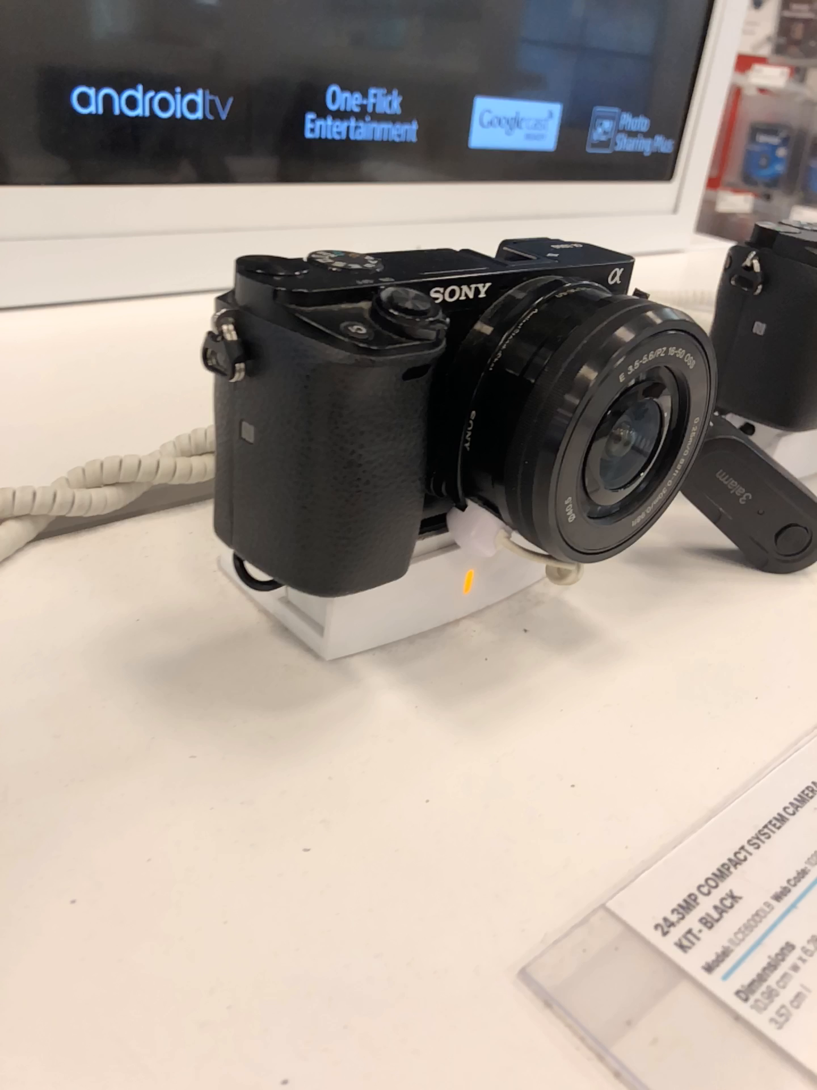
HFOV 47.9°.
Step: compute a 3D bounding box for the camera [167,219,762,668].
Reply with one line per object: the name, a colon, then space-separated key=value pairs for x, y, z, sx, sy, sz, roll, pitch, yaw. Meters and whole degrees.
camera: x=0.016 y=-0.037 z=0.232 sx=0.130 sy=0.070 sz=0.070 roll=-19 pitch=38 yaw=-40
